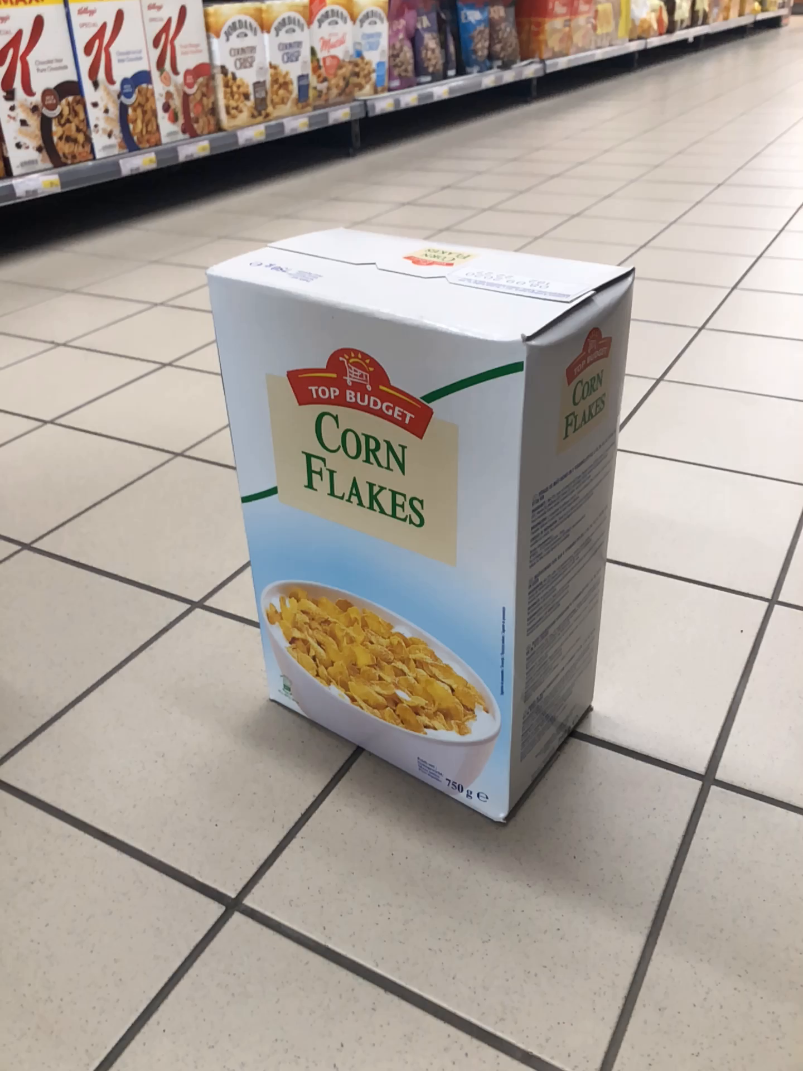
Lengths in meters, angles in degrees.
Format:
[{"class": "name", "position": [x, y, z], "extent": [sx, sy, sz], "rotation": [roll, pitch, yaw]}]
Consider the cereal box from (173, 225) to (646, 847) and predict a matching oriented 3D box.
[{"class": "cereal box", "position": [0.005, -0.006, 0.508], "extent": [0.200, 0.288, 0.121], "rotation": [20, 37, 32]}]
